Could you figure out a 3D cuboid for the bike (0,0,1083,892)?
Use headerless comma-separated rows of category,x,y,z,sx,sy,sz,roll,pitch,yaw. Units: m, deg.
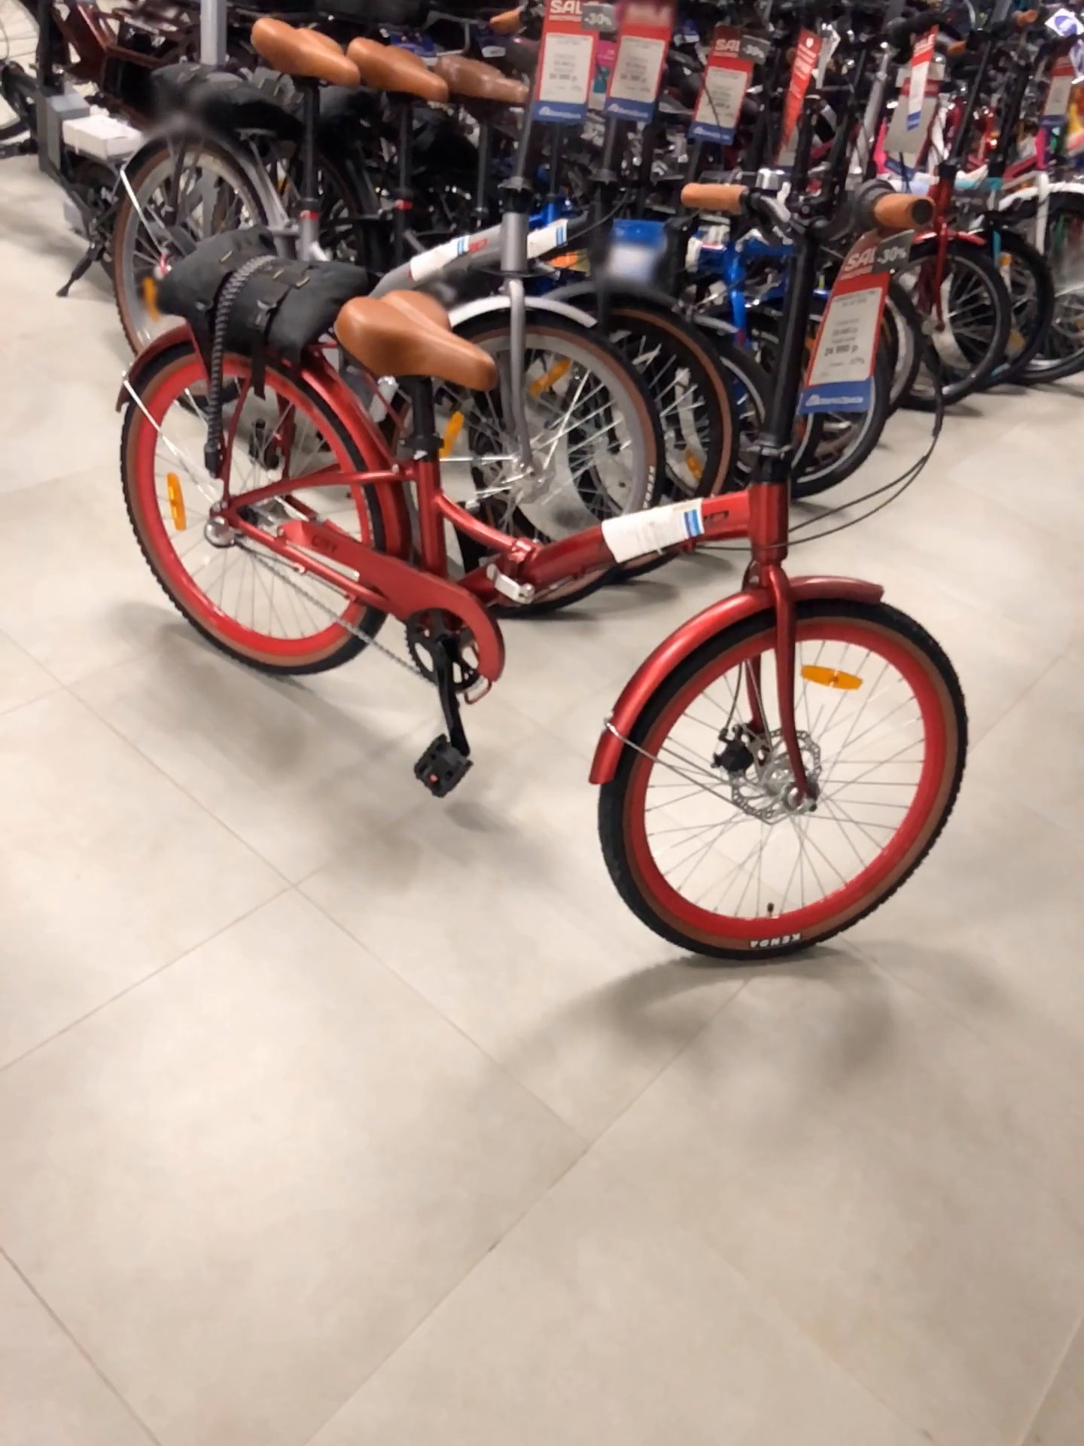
bike,-0.004,-0.508,1.884,1.493,1.111,0.519,19,38,13
